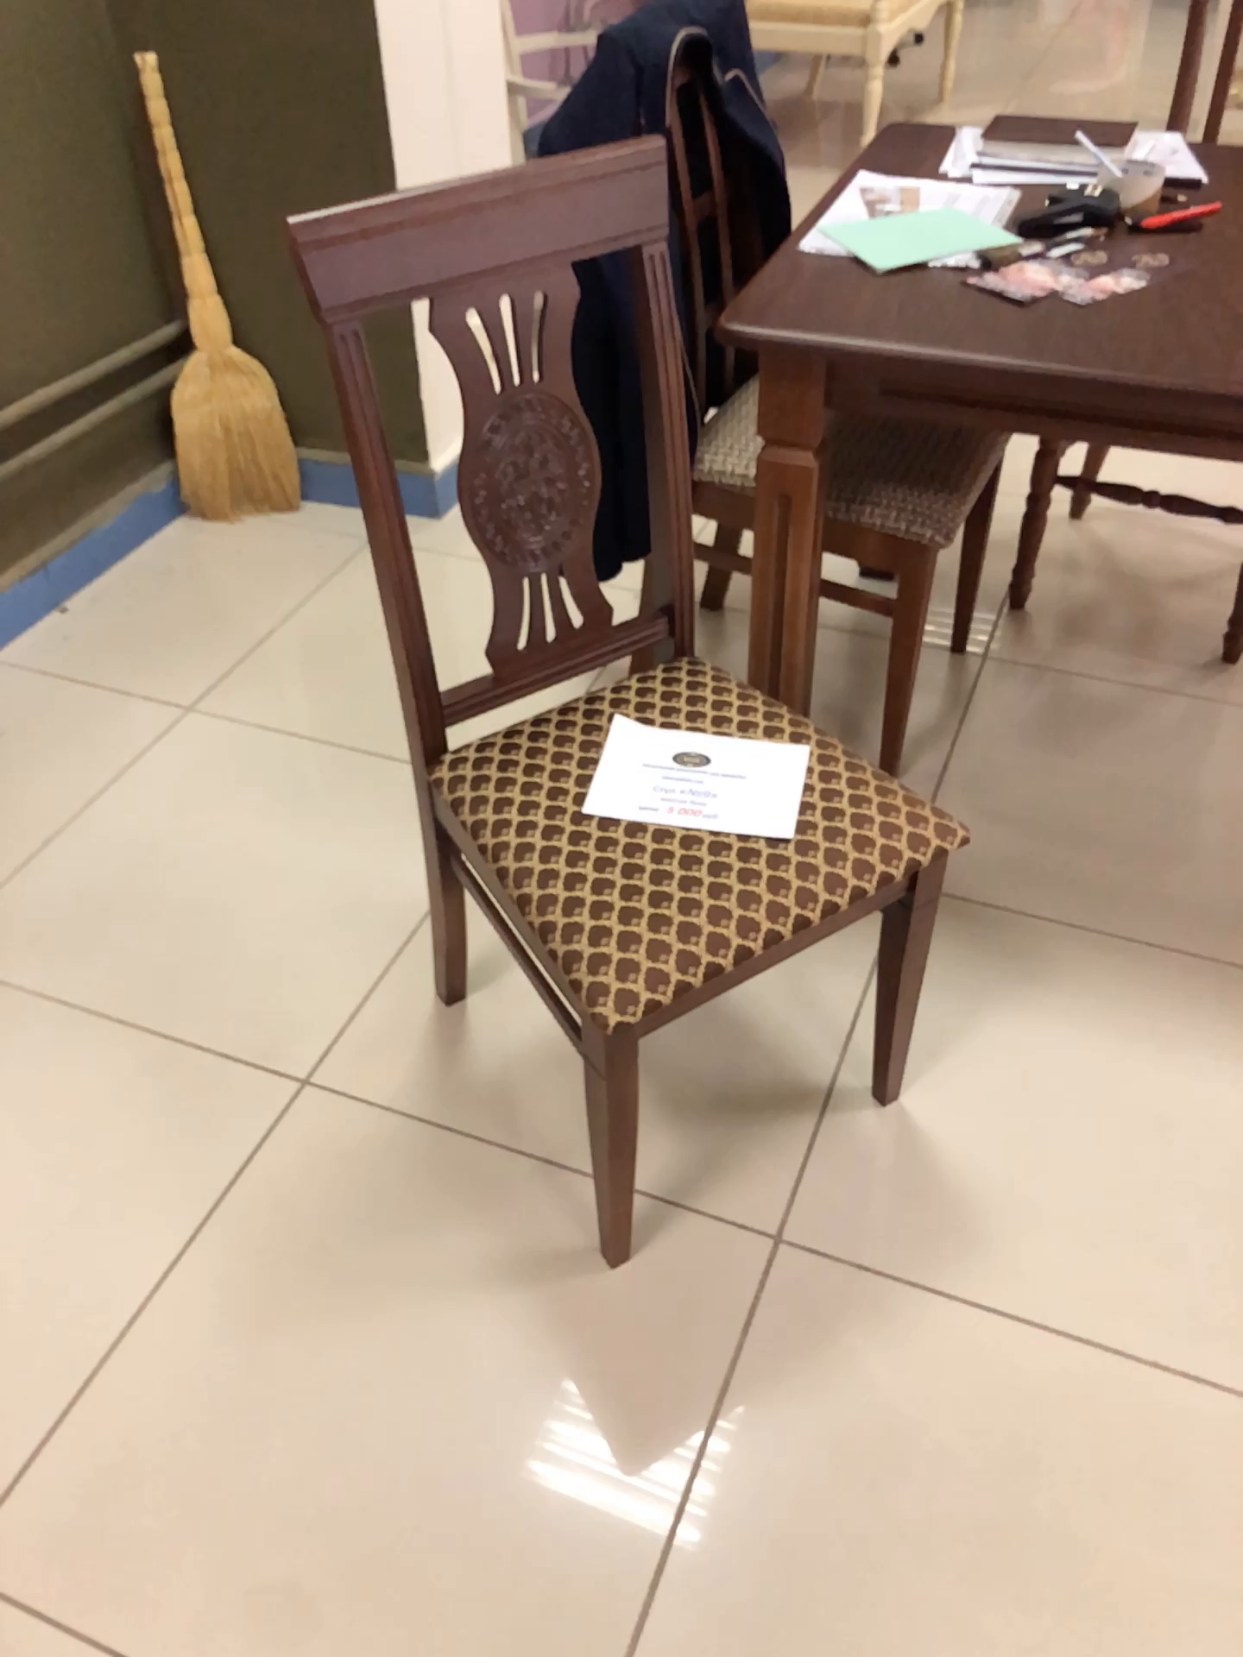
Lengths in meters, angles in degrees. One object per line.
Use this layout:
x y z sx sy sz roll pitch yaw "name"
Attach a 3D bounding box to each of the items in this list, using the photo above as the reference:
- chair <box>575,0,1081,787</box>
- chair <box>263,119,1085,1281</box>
0.274 -0.615 1.956 0.490 0.955 0.432 15 43 20 "chair"
0.036 -0.101 1.350 0.436 0.935 0.472 -24 45 -24 "chair"
